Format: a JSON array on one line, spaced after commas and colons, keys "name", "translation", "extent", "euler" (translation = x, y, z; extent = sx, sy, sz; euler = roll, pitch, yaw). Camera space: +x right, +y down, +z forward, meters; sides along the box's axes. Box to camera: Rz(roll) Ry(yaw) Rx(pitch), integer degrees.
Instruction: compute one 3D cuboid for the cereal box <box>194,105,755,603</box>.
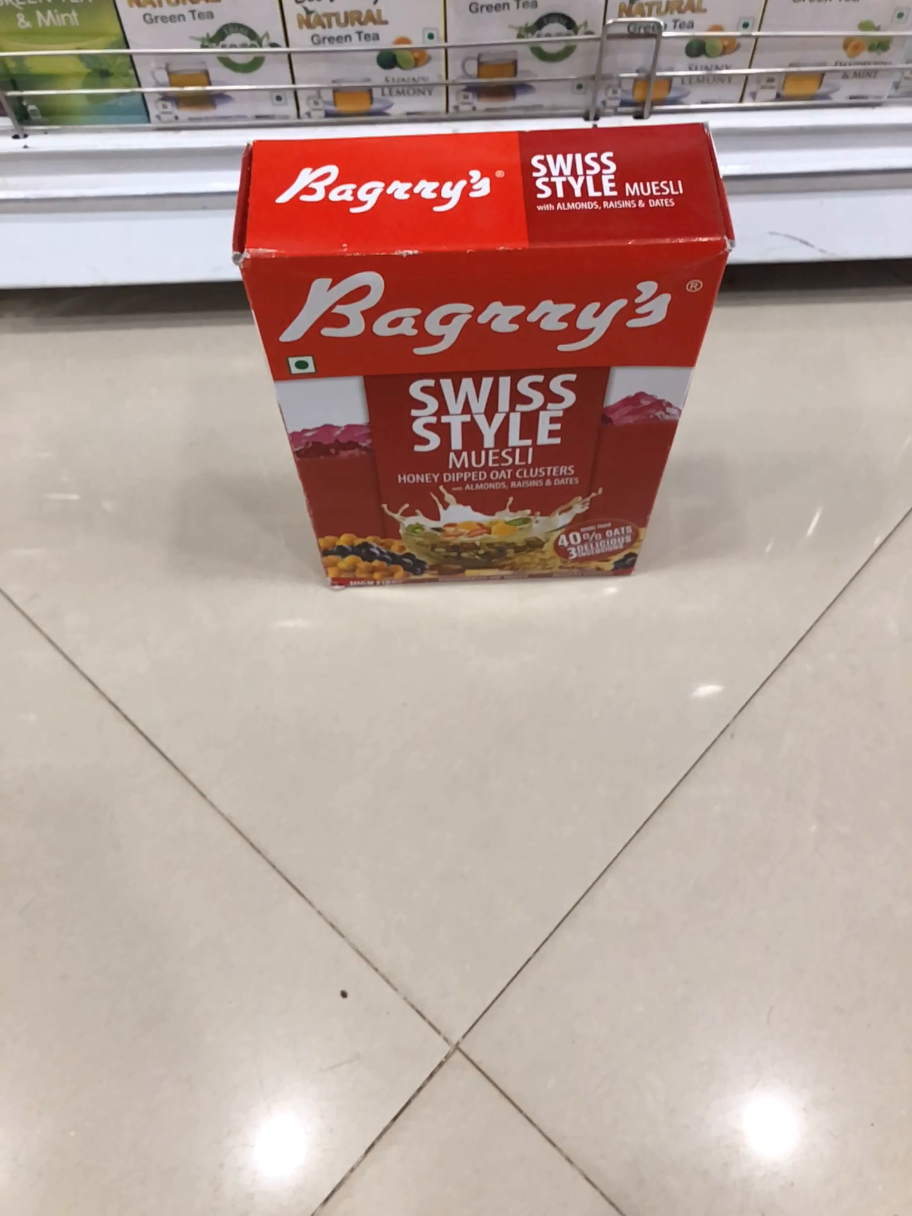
[{"name": "cereal box", "translation": [0.008, -0.100, 0.489], "extent": [0.200, 0.249, 0.080], "euler": [-2, 62, 0]}]
